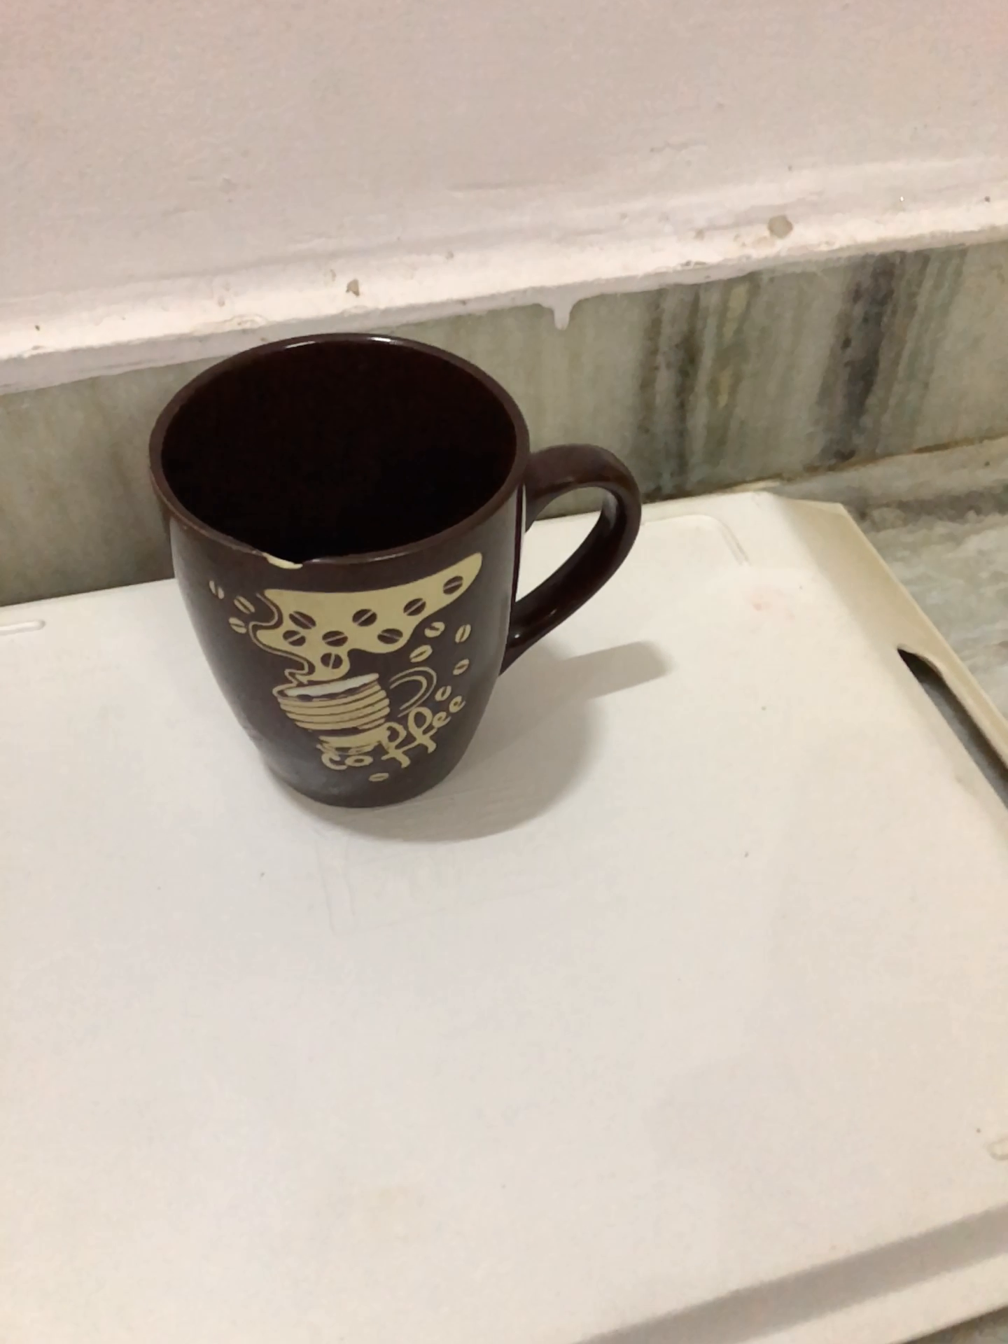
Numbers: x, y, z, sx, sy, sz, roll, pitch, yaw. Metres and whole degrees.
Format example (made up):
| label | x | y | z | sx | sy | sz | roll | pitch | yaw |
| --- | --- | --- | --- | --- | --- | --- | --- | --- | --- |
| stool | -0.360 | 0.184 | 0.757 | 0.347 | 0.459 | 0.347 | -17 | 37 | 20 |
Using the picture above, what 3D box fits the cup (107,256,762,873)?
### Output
| label | x | y | z | sx | sy | sz | roll | pitch | yaw |
| --- | --- | --- | --- | --- | --- | --- | --- | --- | --- |
| cup | -0.017 | -0.027 | 0.272 | 0.120 | 0.099 | 0.070 | -18 | 50 | -19 |
